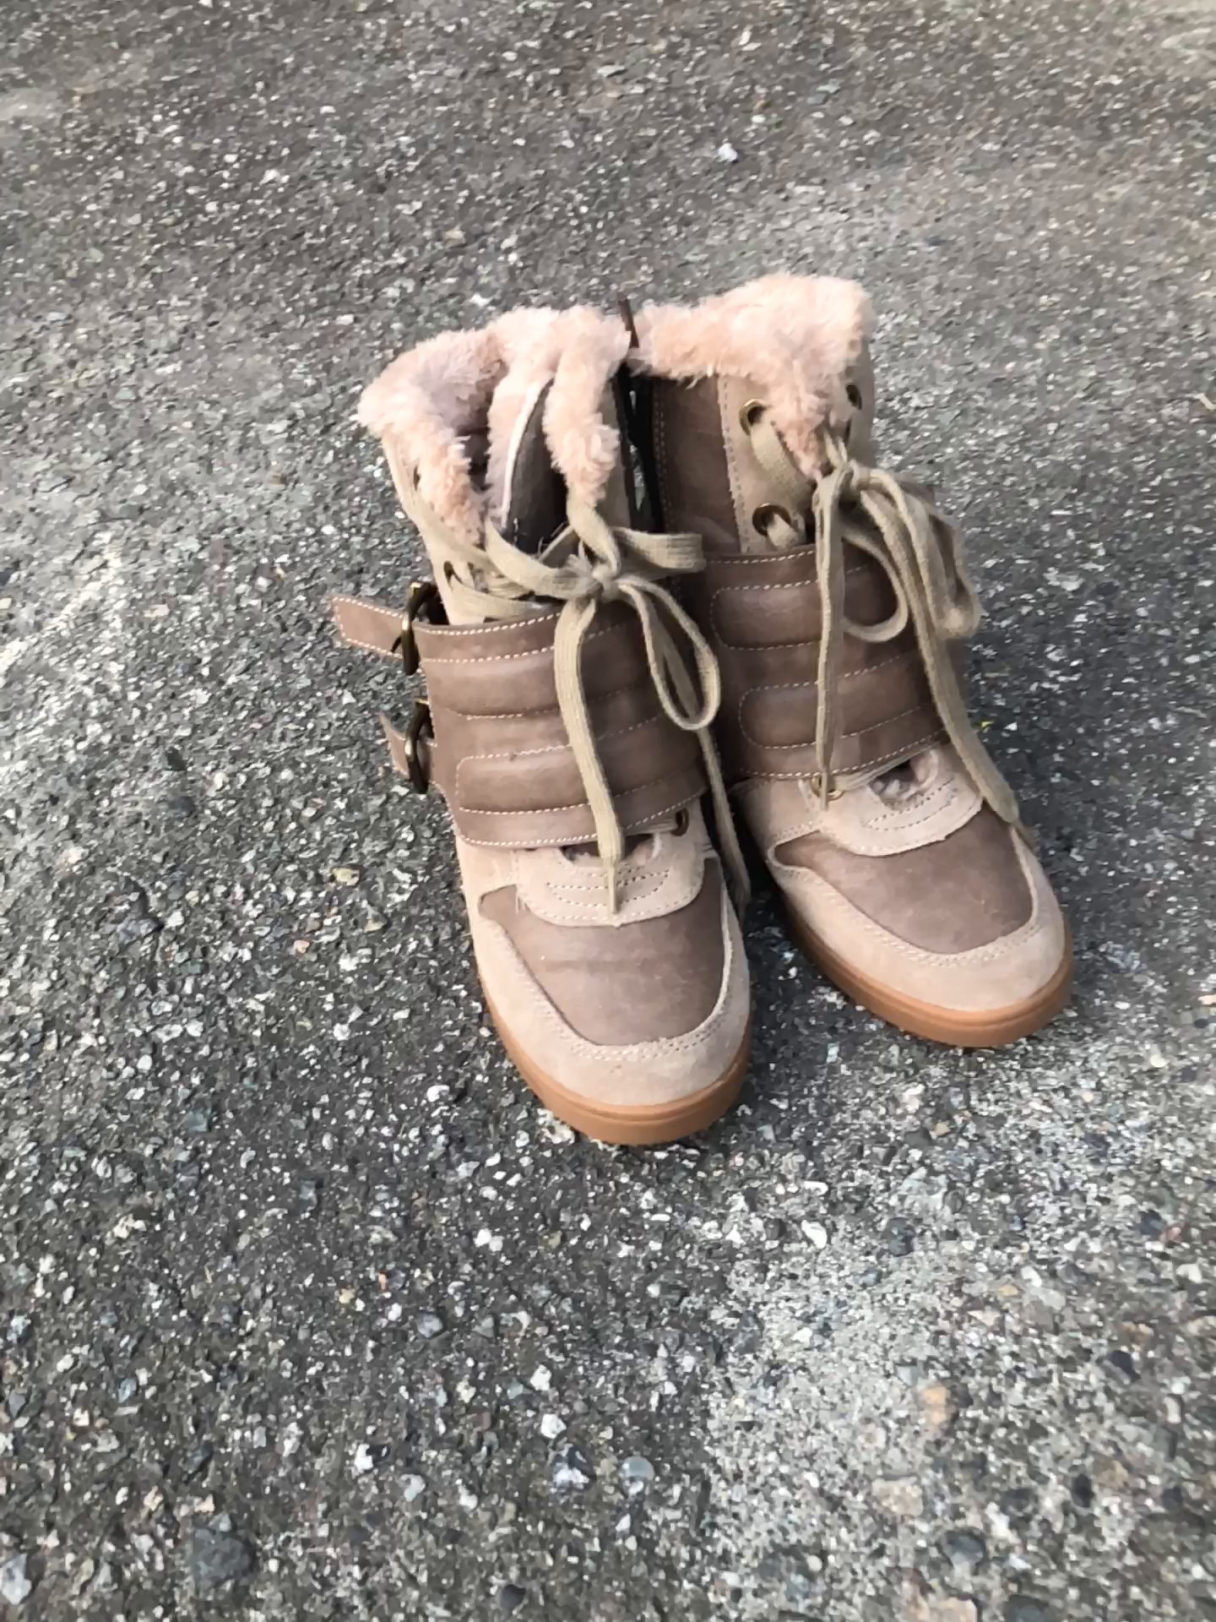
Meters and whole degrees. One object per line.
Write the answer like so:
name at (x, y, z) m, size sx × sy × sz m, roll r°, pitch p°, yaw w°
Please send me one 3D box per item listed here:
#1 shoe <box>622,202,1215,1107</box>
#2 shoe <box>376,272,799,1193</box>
shoe at (0.094, -0.060, 0.440) m, size 0.100 × 0.179 × 0.232 m, roll -15°, pitch 45°, yaw -8°
shoe at (-0.010, -0.032, 0.432) m, size 0.090 × 0.179 × 0.232 m, roll -9°, pitch 45°, yaw -1°
